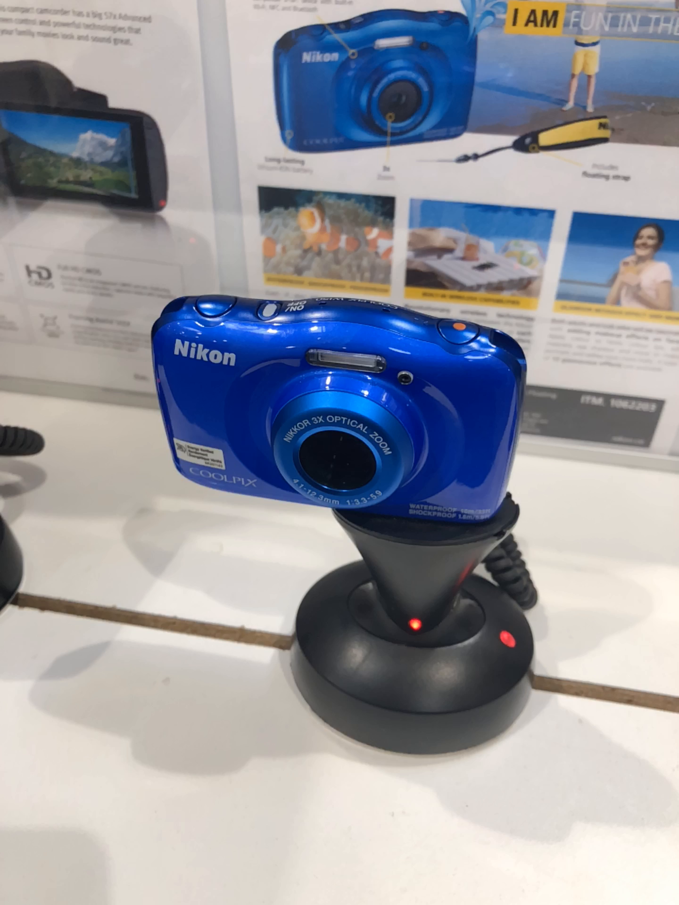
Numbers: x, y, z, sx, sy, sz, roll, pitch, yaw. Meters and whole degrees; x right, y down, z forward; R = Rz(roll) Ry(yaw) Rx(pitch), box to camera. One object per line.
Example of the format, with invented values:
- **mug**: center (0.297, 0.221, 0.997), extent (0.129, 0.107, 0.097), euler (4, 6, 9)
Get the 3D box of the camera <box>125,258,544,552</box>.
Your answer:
- **camera**: center (0.000, -0.014, 0.213), extent (0.100, 0.060, 0.040), euler (7, 41, 7)
